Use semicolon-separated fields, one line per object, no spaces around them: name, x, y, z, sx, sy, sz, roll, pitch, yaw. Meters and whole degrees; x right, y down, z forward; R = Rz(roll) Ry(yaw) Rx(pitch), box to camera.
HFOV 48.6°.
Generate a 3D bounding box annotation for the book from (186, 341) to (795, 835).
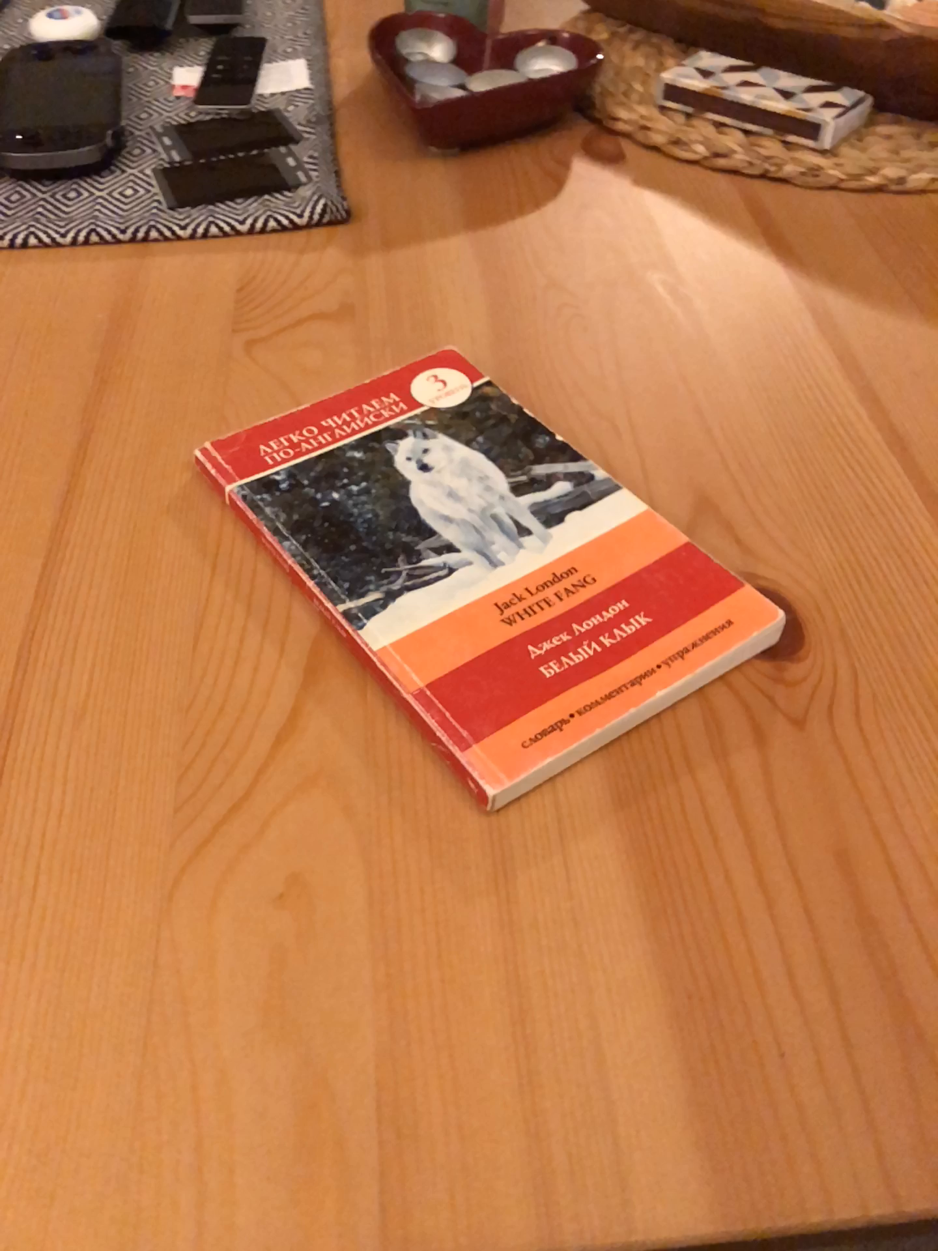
book;-0.001;-0.032;0.392;0.129;0.020;0.205;-28;54;-24
